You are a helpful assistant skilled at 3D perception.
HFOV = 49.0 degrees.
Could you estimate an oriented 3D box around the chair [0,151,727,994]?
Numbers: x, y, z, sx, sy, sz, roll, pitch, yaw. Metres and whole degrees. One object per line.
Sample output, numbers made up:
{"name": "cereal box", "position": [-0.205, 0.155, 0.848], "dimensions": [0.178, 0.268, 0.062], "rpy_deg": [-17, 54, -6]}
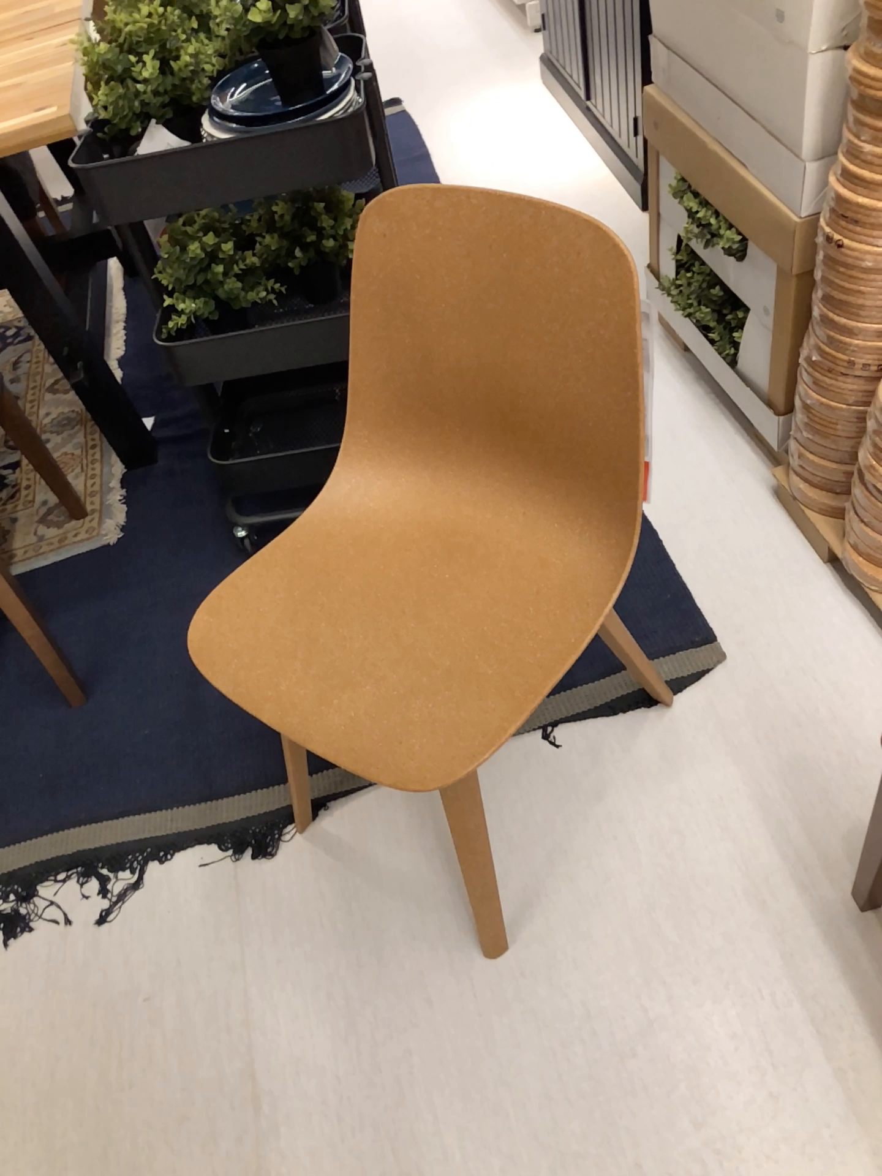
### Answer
{"name": "chair", "position": [0.002, -0.002, 1.163], "dimensions": [0.442, 0.745, 0.551], "rpy_deg": [24, 59, 31]}
